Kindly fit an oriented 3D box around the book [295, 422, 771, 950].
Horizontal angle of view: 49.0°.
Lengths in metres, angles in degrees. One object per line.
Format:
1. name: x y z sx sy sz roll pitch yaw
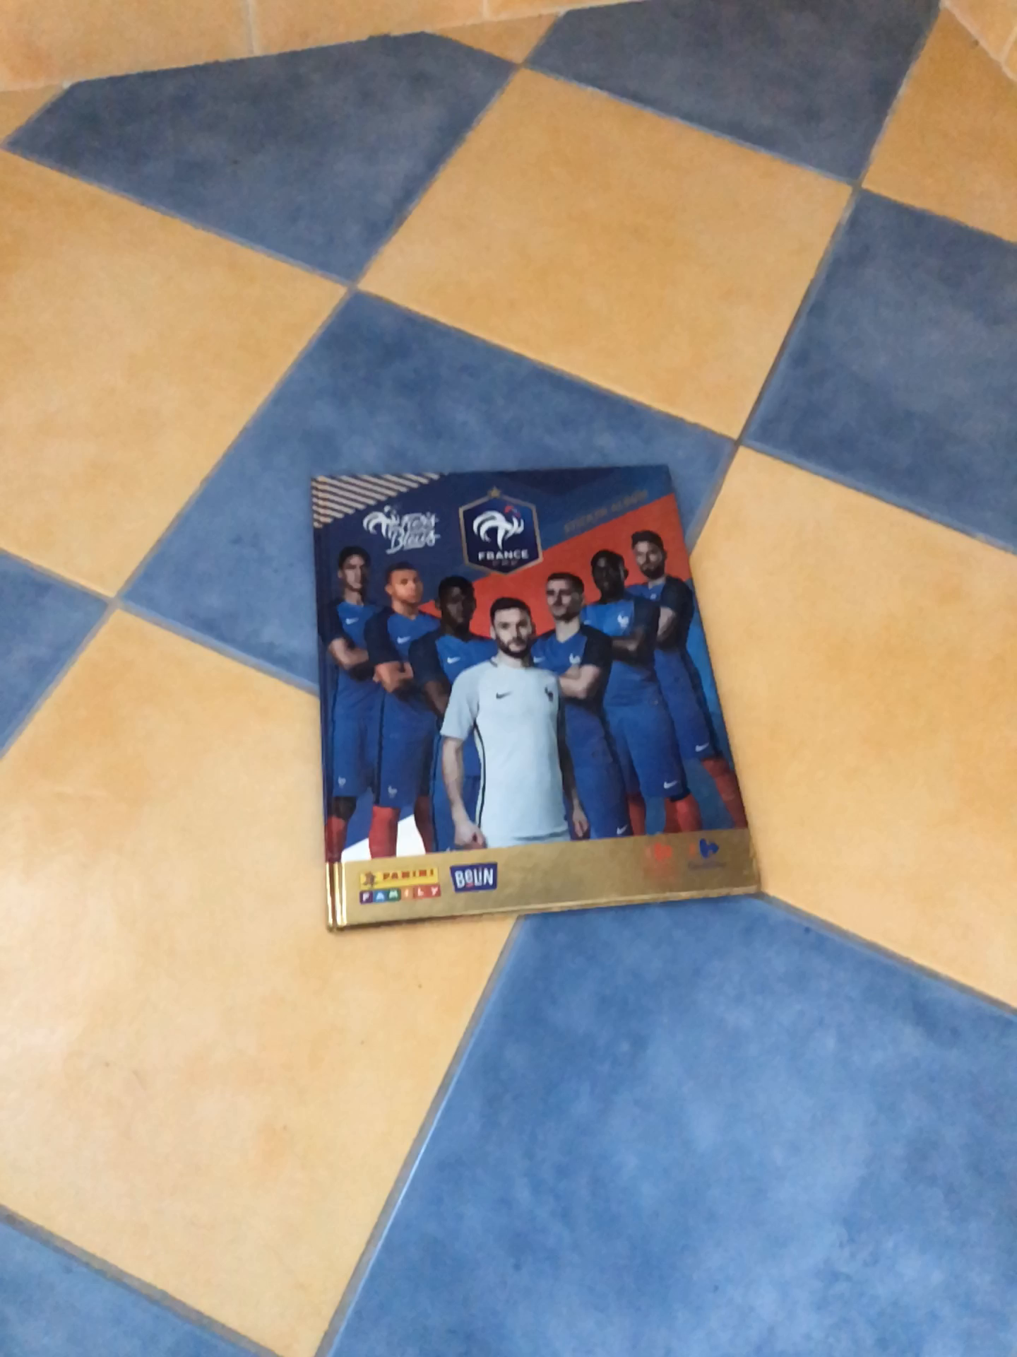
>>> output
1. book: 0.000 -0.014 0.662 0.240 0.030 0.321 -4 62 -7
